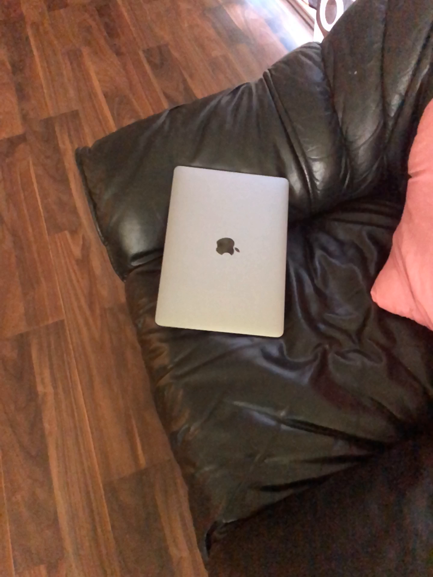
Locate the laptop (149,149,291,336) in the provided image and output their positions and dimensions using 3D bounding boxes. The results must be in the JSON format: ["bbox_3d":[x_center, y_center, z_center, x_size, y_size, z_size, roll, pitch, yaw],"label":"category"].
[{"bbox_3d":[0.014,-0.073,0.713,0.185,0.036,0.265,6,69,-4],"label":"laptop"}]
